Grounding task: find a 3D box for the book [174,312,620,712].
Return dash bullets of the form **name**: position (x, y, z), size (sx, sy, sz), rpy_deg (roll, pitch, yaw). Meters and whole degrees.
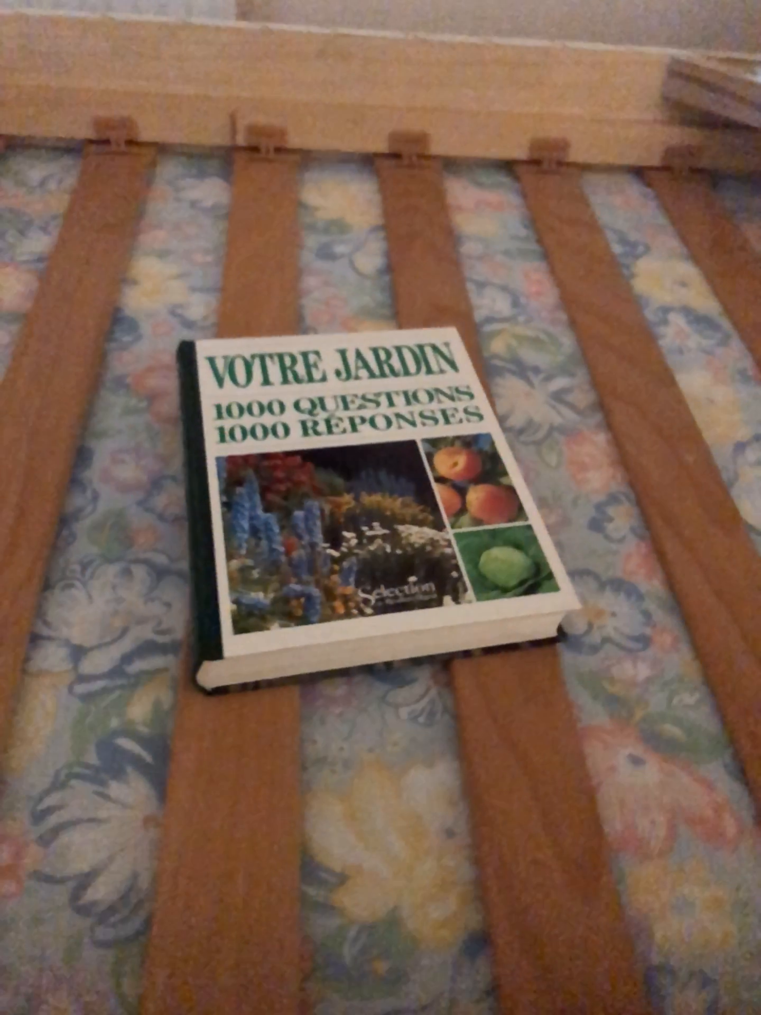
- **book**: position (-0.010, -0.020, 0.531), size (0.220, 0.050, 0.271), rpy_deg (-6, 47, -11)
